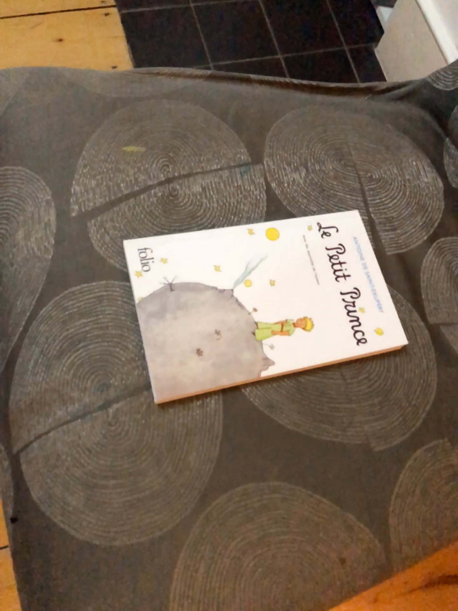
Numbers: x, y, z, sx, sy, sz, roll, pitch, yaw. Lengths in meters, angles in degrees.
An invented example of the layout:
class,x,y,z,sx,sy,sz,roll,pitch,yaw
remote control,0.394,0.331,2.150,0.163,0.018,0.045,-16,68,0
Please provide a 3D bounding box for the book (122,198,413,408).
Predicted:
class,x,y,z,sx,sy,sz,roll,pitch,yaw
book,0.024,-0.005,0.336,0.170,0.030,0.110,-10,75,-12
